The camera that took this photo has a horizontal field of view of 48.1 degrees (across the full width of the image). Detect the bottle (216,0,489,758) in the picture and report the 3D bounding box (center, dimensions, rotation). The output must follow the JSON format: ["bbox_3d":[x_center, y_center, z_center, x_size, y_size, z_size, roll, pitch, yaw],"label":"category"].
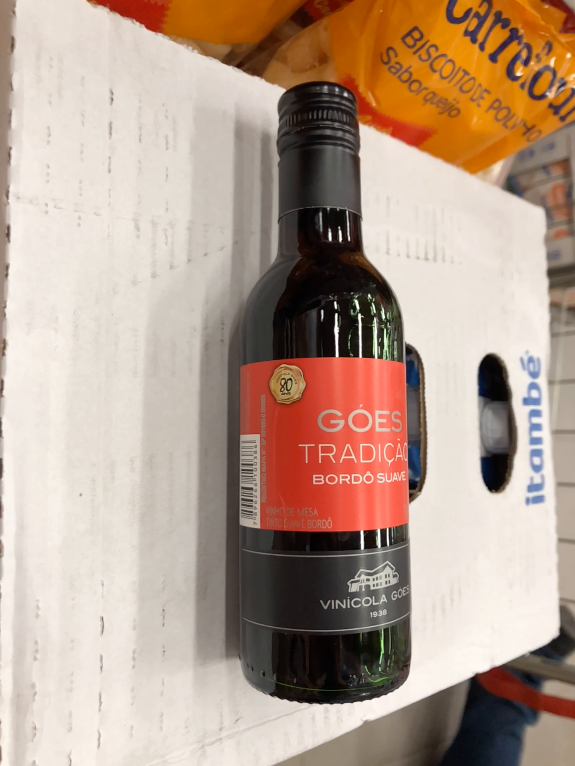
[{"bbox_3d":[0.018,-0.010,0.204,0.060,0.050,0.210,2,84,-38],"label":"bottle"}]
